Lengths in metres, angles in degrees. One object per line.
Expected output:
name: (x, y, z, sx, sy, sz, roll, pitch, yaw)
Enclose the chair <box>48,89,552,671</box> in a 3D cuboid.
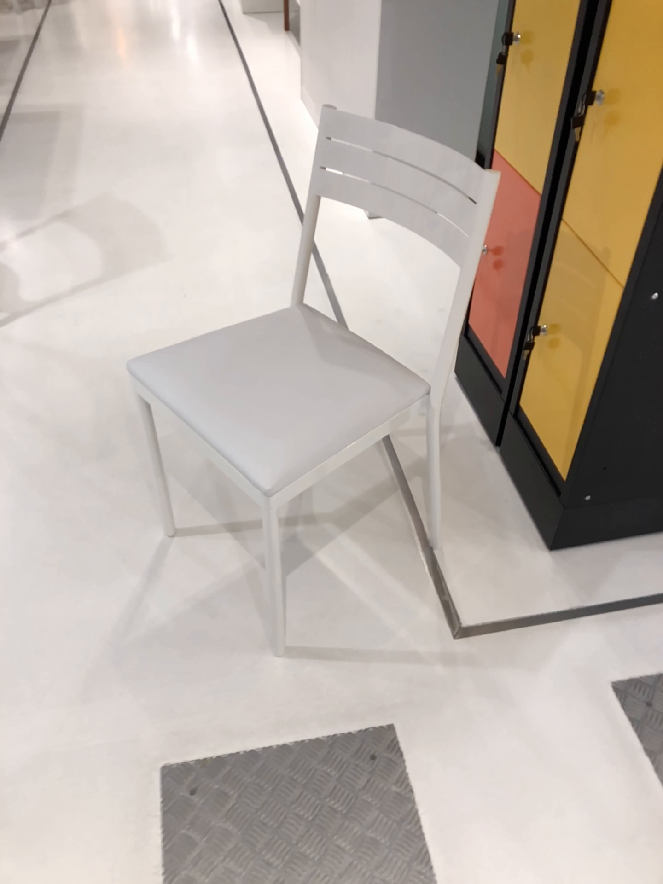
chair: (-0.049, -0.115, 1.279, 0.532, 0.734, 0.482, -29, 50, -29)
